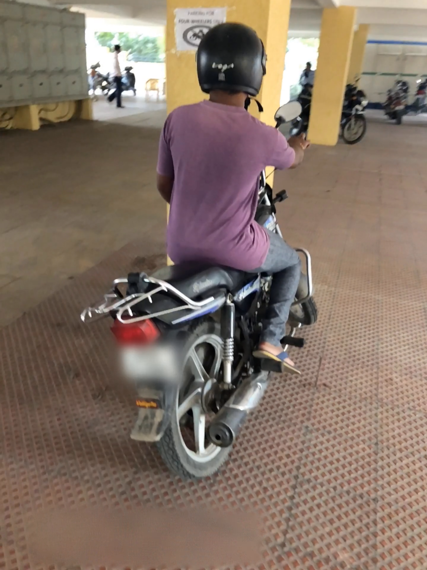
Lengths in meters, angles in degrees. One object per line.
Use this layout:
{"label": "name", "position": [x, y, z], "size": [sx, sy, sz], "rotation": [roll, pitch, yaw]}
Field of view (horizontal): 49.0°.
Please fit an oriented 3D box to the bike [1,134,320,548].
{"label": "bike", "position": [-0.048, 0.018, 2.169], "size": [0.765, 1.195, 1.550], "rotation": [10, 25, 15]}
